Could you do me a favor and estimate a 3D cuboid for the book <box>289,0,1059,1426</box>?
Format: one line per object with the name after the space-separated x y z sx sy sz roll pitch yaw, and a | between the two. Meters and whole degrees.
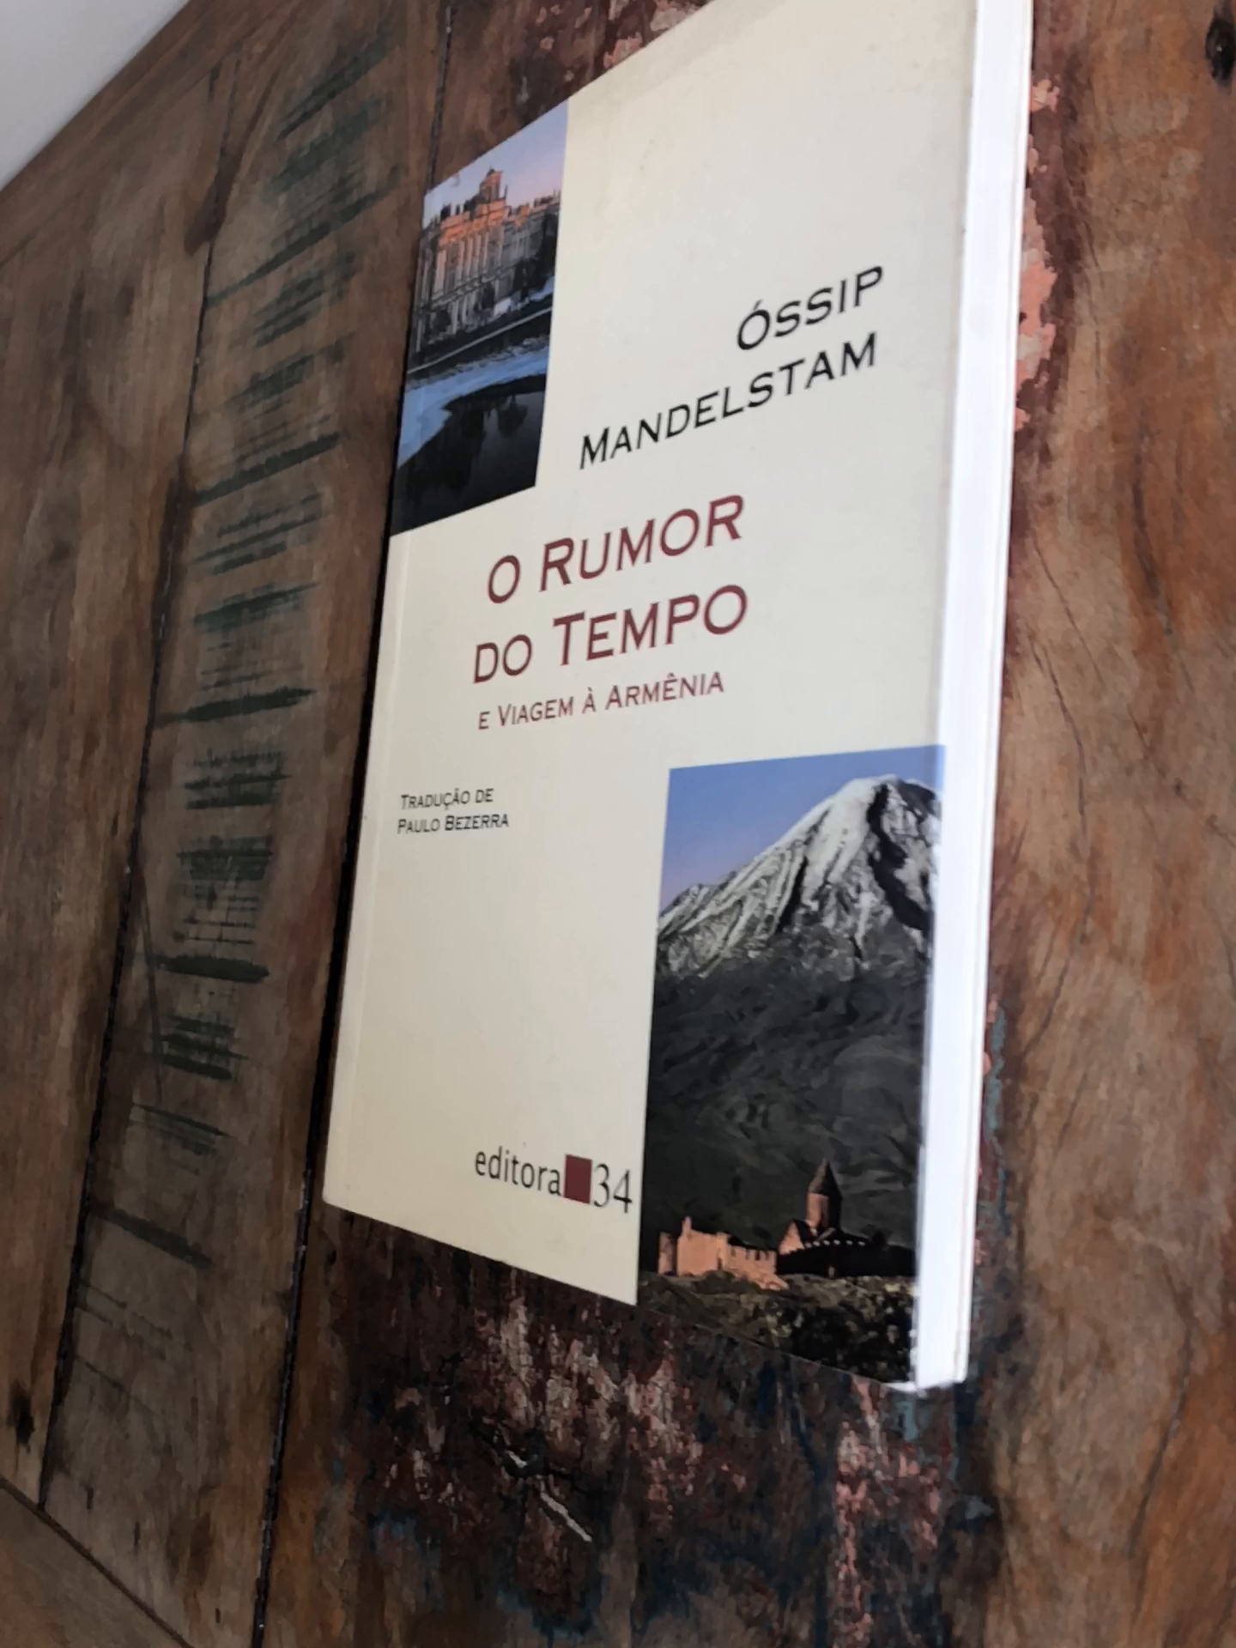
0.000 -0.031 0.227 0.141 0.022 0.207 -3 80 49 | book
